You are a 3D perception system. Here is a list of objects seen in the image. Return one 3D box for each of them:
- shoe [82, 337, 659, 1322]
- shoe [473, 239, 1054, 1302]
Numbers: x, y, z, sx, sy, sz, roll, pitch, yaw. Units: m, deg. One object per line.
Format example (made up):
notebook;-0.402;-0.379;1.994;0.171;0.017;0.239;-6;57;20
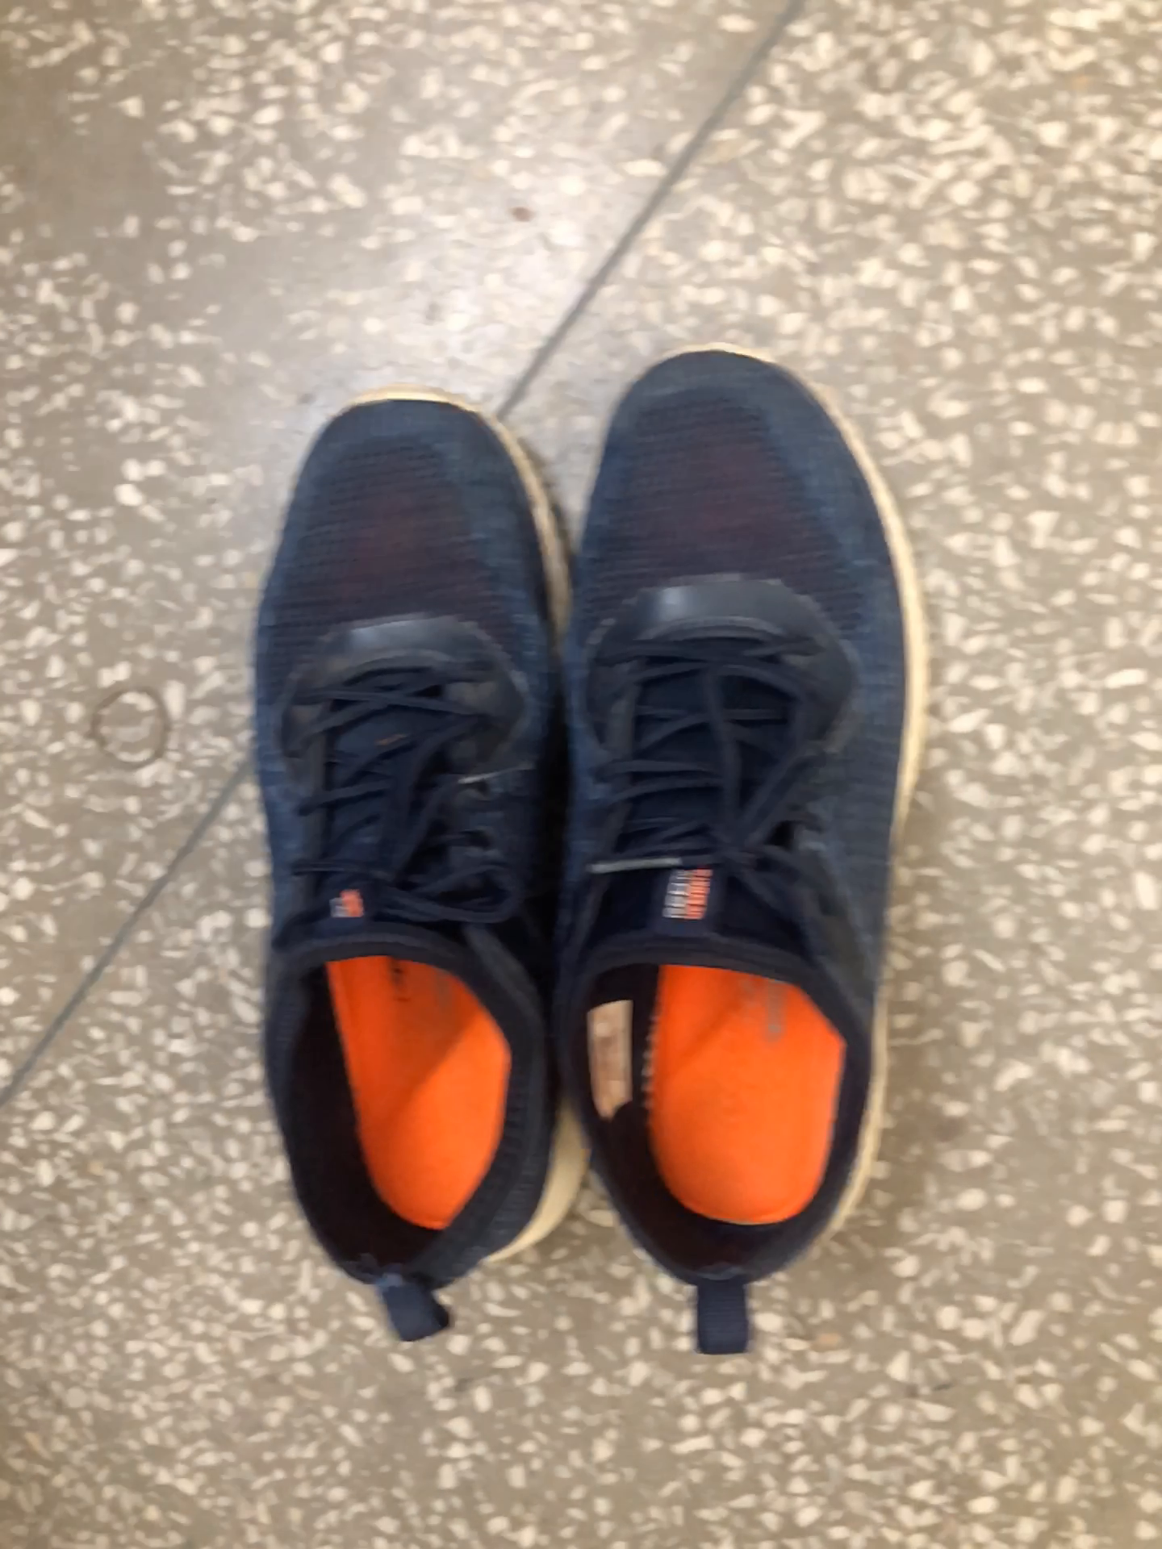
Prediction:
shoe;-0.053;0.018;0.385;0.113;0.100;0.249;-5;94;12
shoe;0.053;0.003;0.362;0.123;0.100;0.249;-4;94;12
